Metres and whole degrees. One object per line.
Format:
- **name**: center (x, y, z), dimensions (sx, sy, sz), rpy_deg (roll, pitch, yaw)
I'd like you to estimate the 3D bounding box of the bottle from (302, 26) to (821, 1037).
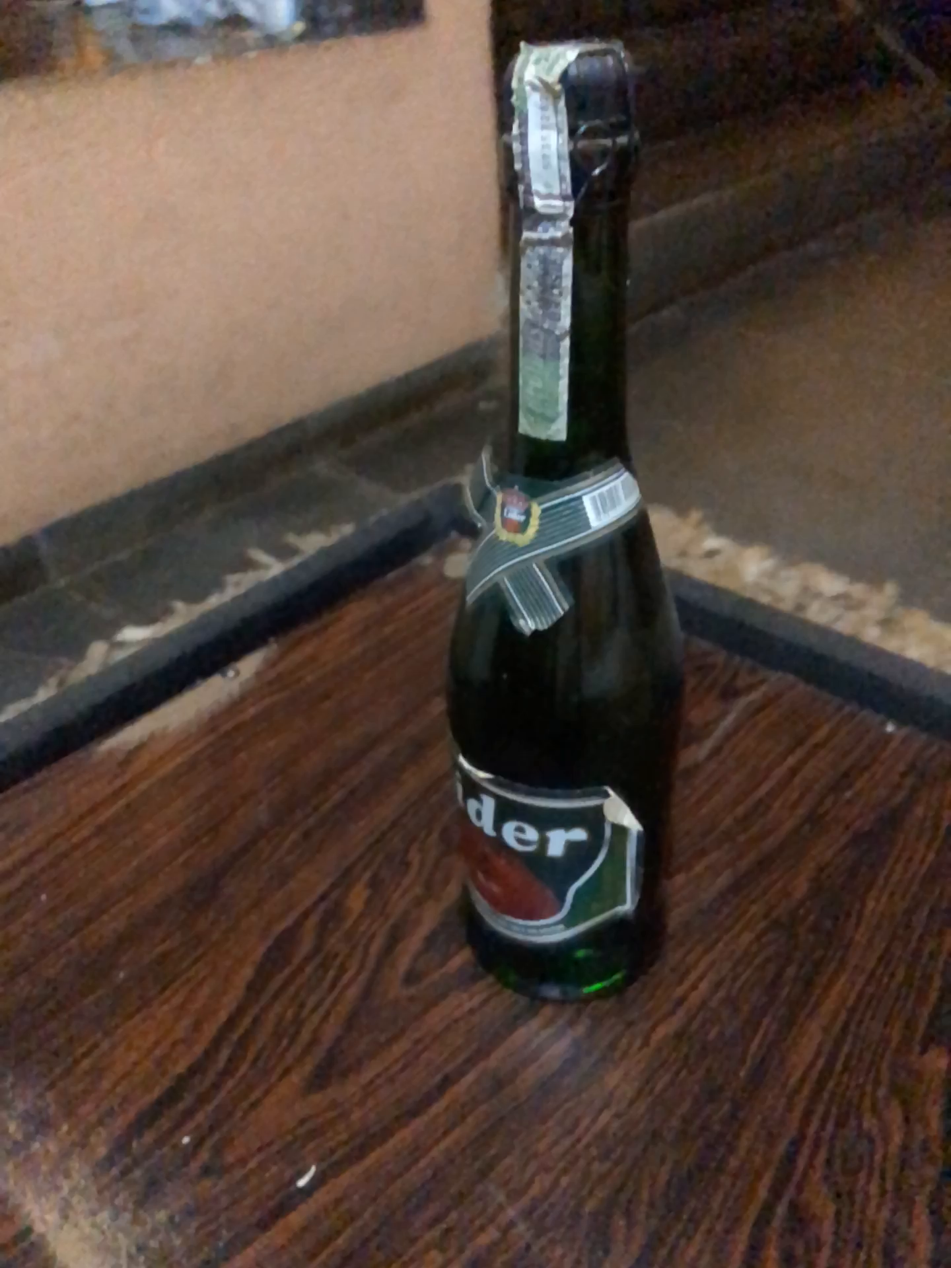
- **bottle**: center (0.025, -0.017, 0.326), dimensions (0.080, 0.288, 0.090), rpy_deg (-30, 43, -34)
